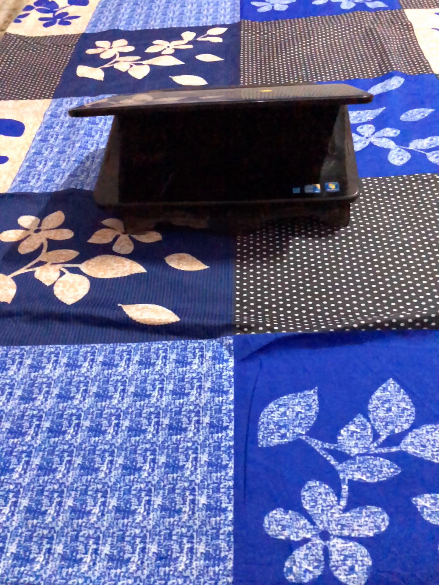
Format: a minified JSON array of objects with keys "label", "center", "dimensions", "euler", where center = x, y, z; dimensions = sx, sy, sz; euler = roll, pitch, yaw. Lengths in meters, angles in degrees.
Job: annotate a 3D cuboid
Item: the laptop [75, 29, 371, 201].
[{"label":"laptop","center":[0.009,-0.256,0.689],"dimensions":[0.362,0.092,0.237],"euler":[0,55,5]}]
